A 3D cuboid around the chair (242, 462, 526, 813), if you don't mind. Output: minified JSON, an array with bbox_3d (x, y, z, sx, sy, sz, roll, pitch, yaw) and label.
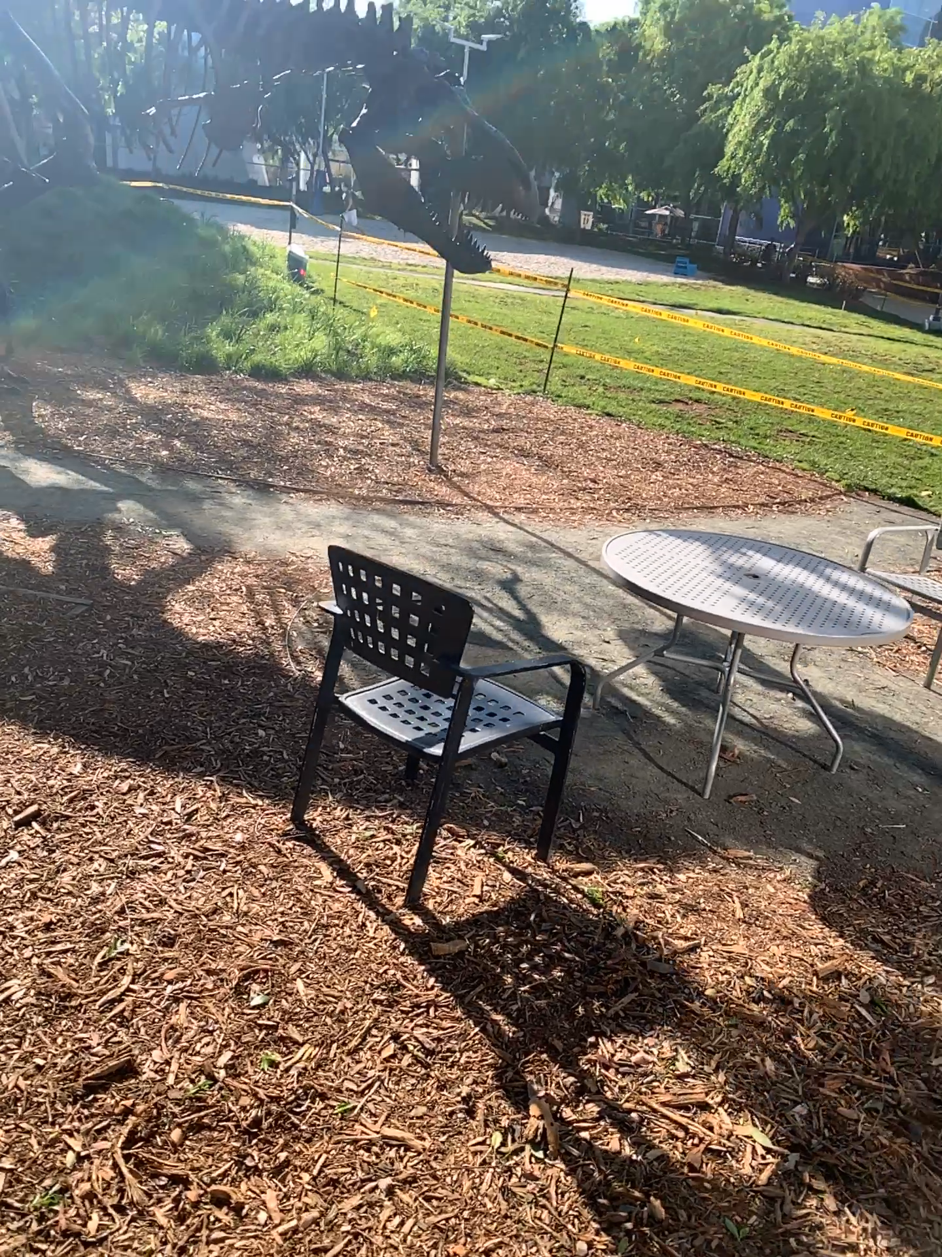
[{"bbox_3d":[-0.259,-0.010,2.610,0.501,0.716,0.522,-16,33,-41],"label":"chair"}]
